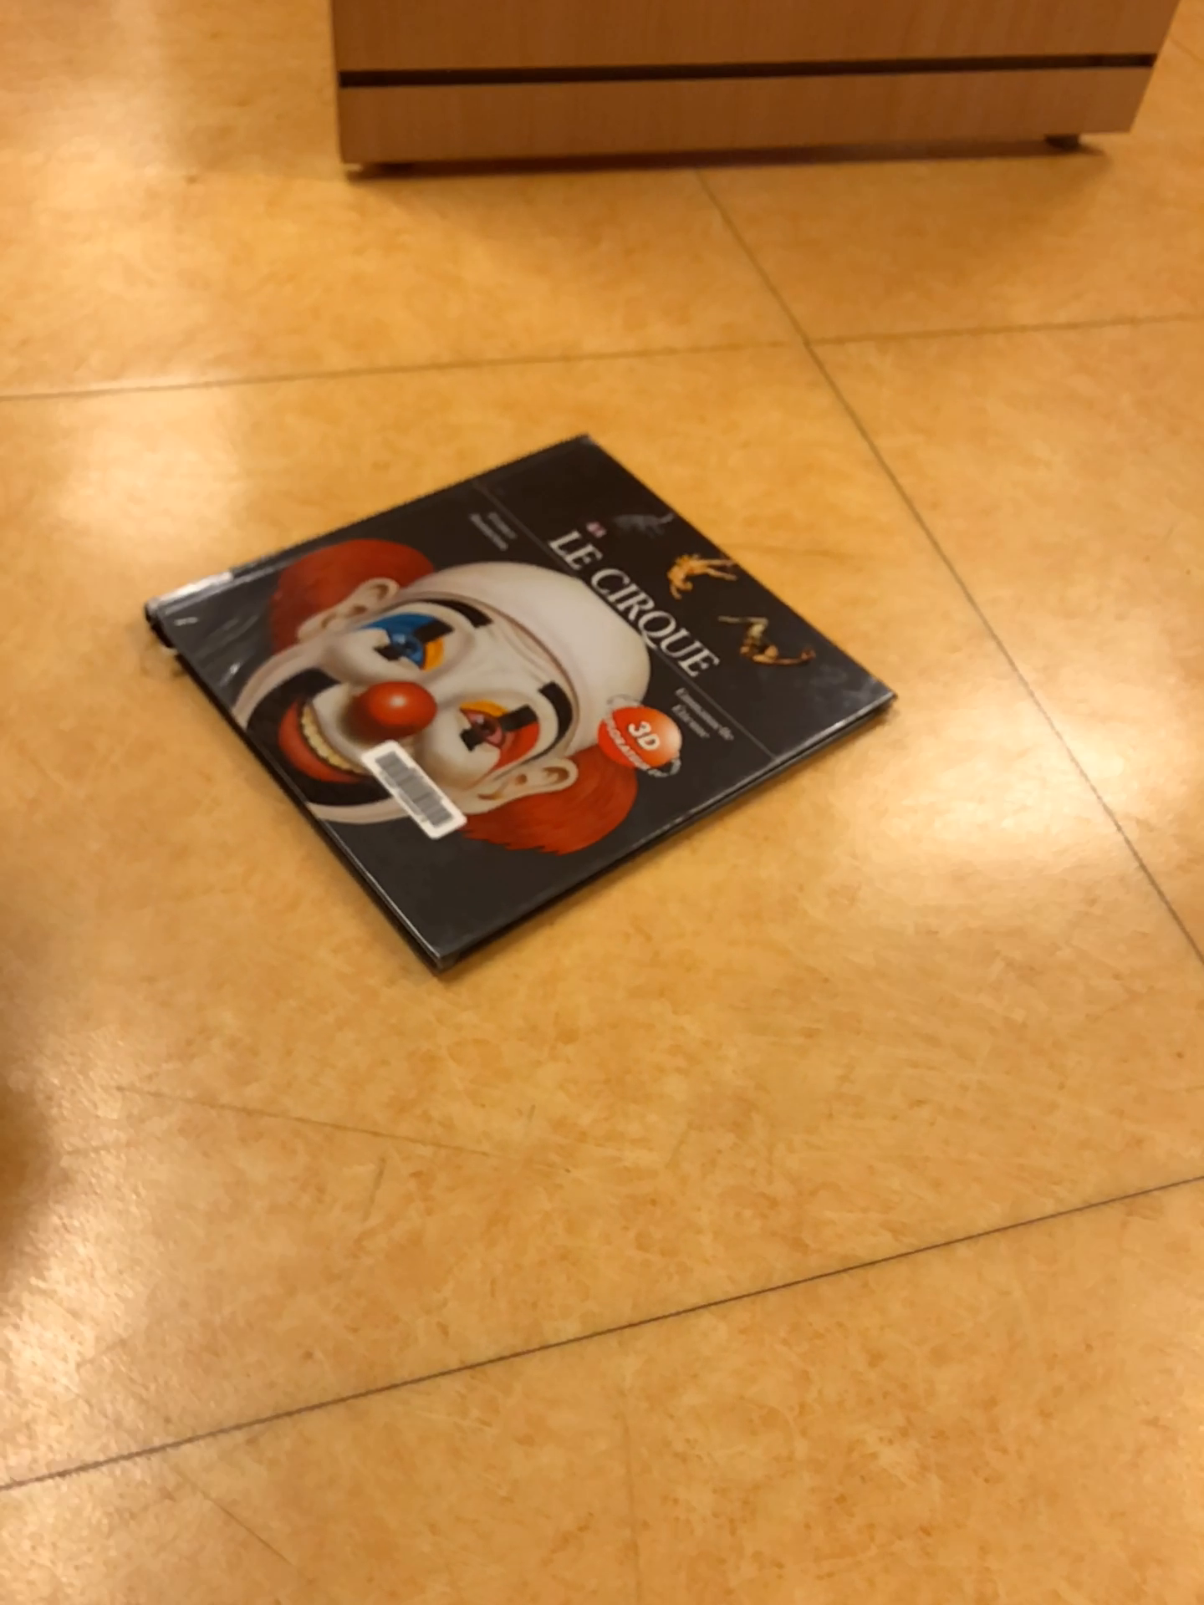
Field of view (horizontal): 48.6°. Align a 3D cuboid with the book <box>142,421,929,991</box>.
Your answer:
[{"bbox_3d":[-0.025,-0.060,0.538,0.234,0.012,0.214,-28,59,-28],"label":"book"}]
